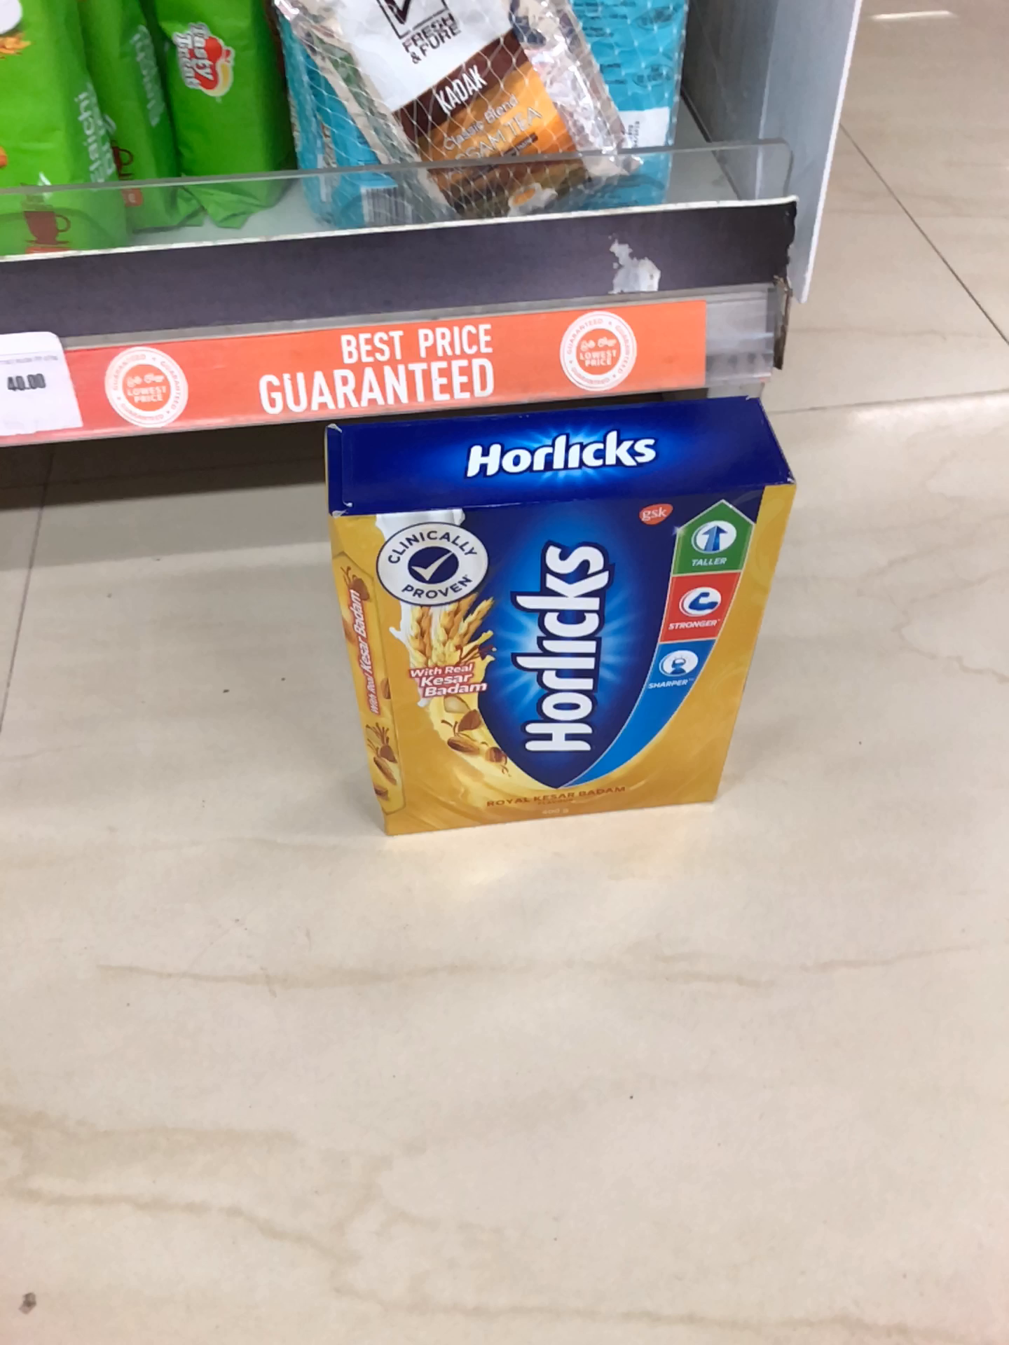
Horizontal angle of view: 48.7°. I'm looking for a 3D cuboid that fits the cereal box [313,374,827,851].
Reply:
[{"bbox_3d":[0.019,-0.012,0.407,0.150,0.179,0.050,-6,49,-4],"label":"cereal box"}]
